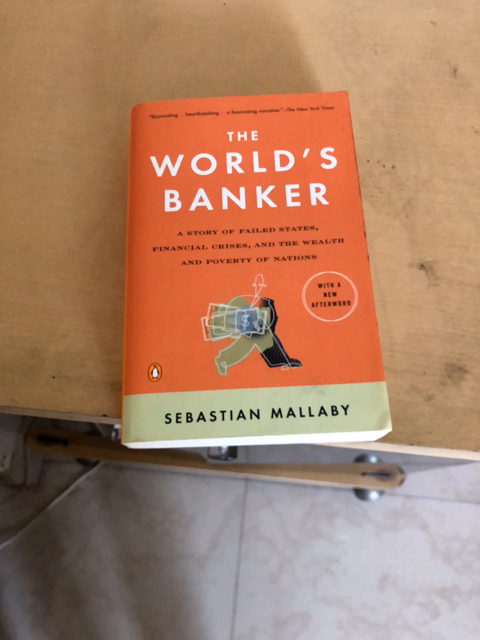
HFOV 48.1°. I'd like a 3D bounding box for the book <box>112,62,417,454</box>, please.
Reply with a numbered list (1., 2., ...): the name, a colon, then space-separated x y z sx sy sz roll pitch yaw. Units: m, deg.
1. book: 0.008 -0.042 0.297 0.140 0.030 0.220 -2 71 0
